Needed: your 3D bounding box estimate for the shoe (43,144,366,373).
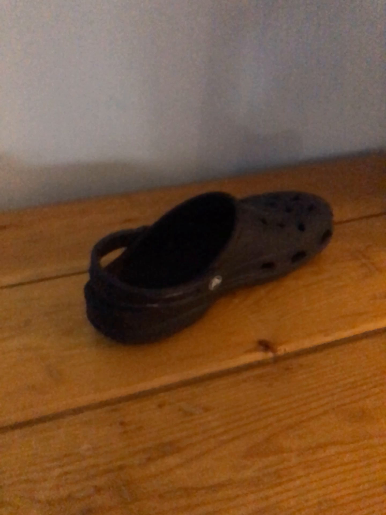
[{"bbox_3d":[0.019,-0.019,0.445,0.290,0.080,0.130,-23,45,-25],"label":"shoe"}]
